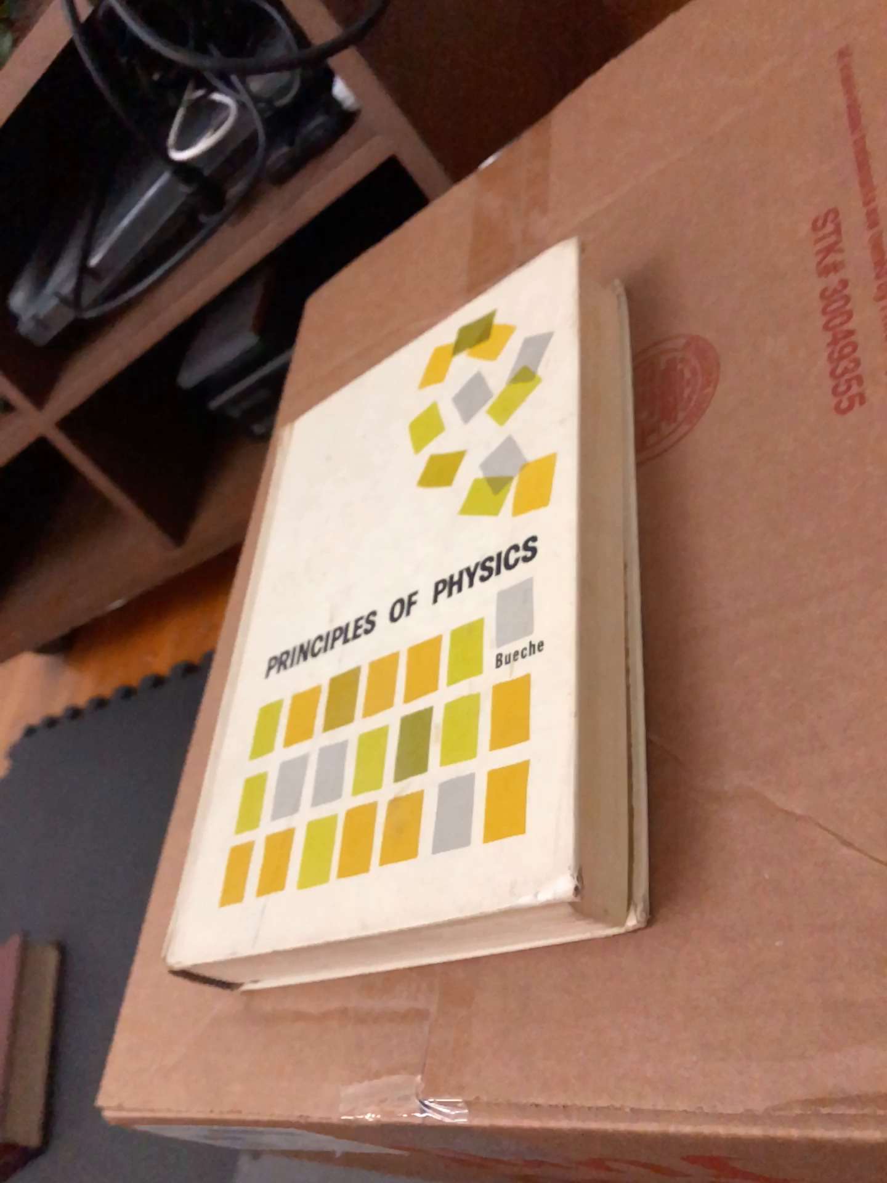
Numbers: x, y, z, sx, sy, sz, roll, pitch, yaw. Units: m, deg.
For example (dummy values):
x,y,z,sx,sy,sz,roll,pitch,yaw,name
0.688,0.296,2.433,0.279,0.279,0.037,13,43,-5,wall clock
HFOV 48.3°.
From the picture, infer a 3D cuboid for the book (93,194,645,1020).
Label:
x,y,z,sx,sy,sz,roll,pitch,yaw,name
-0.022,0.004,0.341,0.180,0.040,0.251,-24,46,37,book
